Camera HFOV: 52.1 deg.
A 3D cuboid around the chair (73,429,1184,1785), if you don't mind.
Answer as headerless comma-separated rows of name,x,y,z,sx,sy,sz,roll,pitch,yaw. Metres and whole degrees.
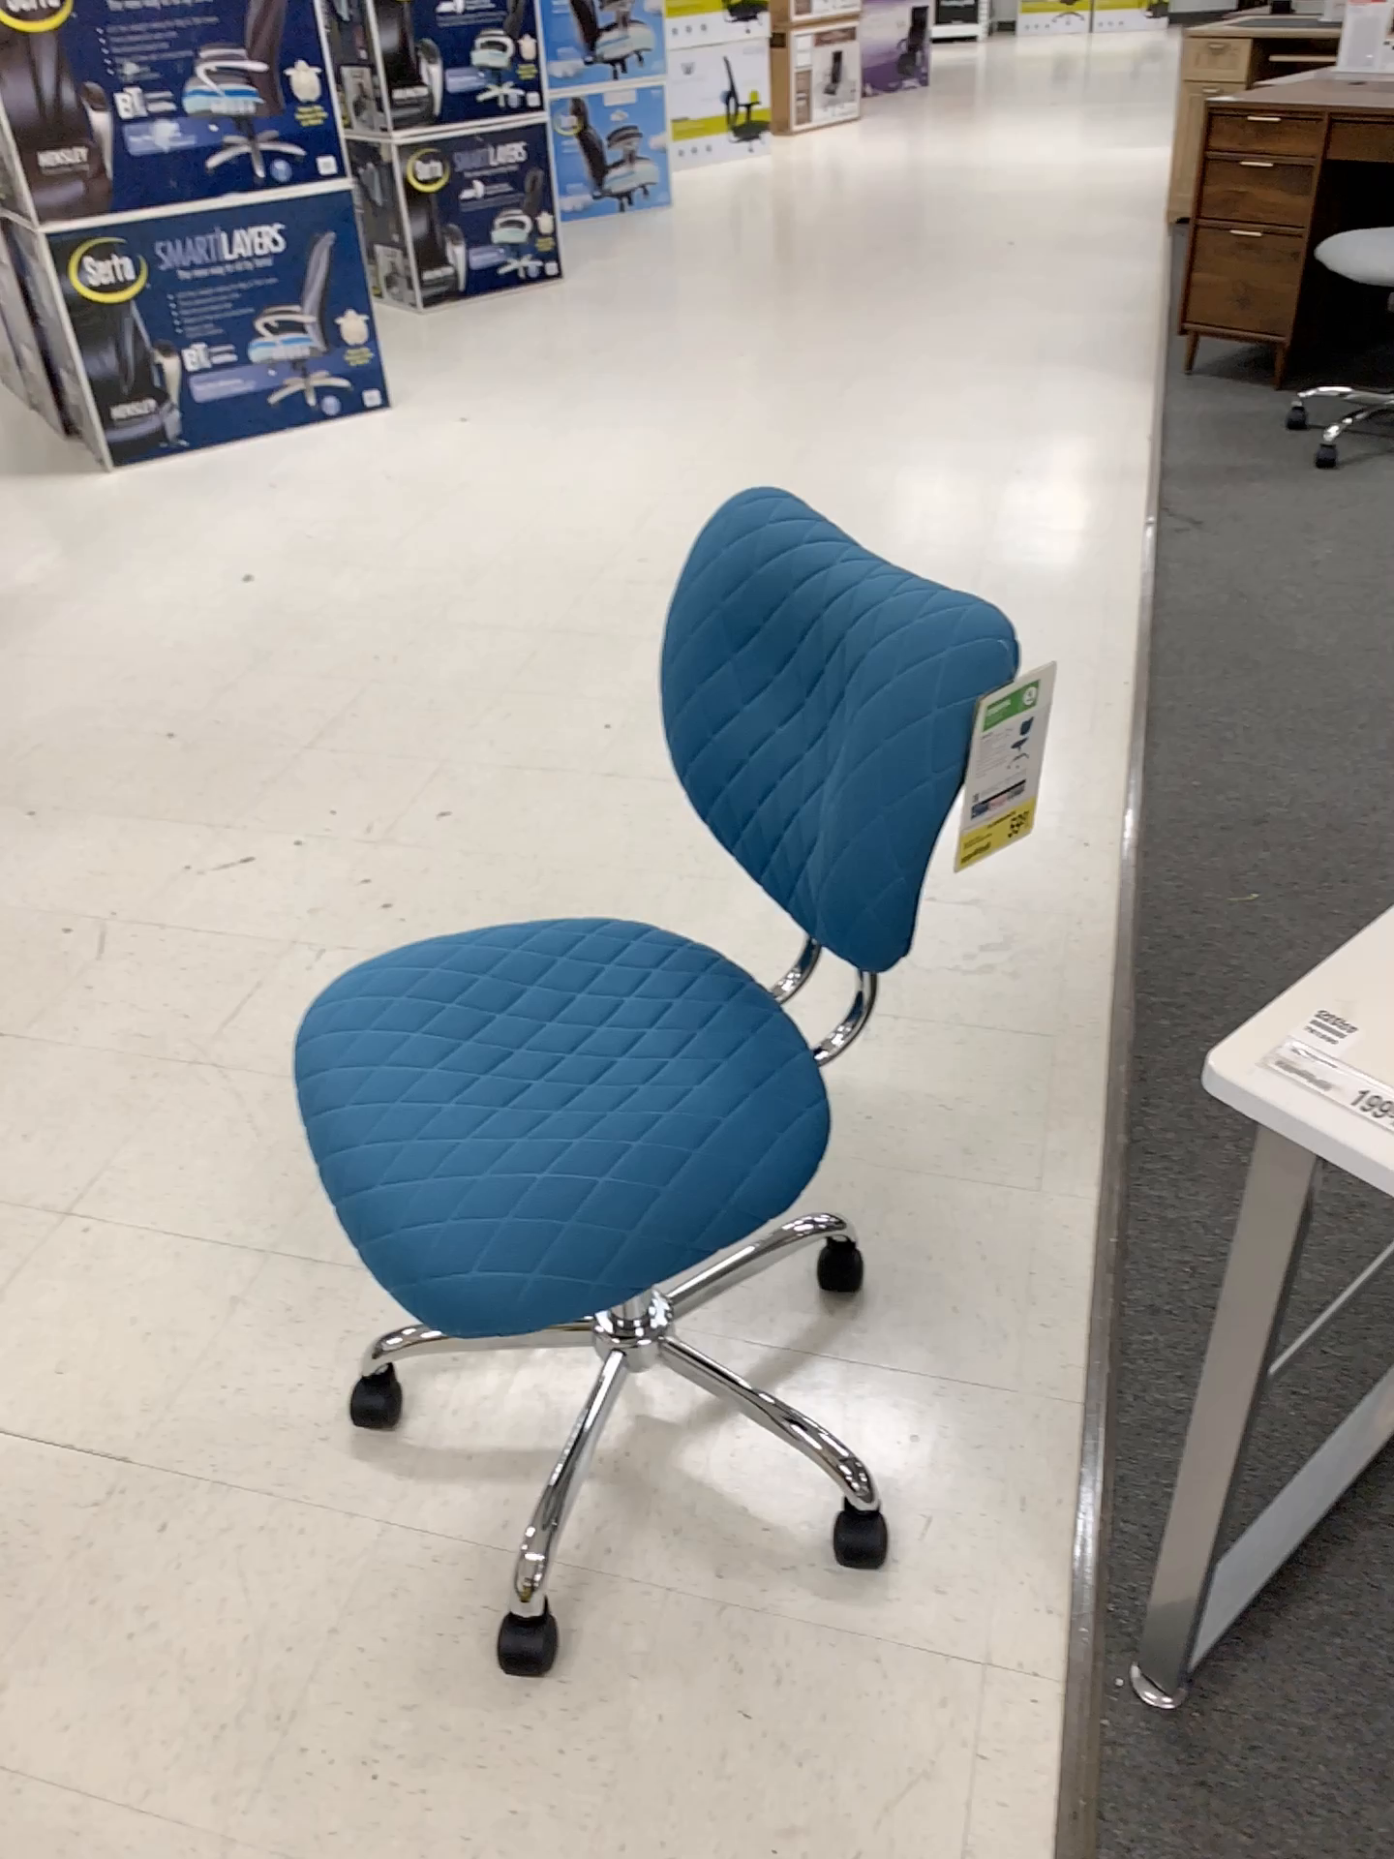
chair,-0.080,0.127,1.281,0.630,0.875,0.613,-16,37,-16
